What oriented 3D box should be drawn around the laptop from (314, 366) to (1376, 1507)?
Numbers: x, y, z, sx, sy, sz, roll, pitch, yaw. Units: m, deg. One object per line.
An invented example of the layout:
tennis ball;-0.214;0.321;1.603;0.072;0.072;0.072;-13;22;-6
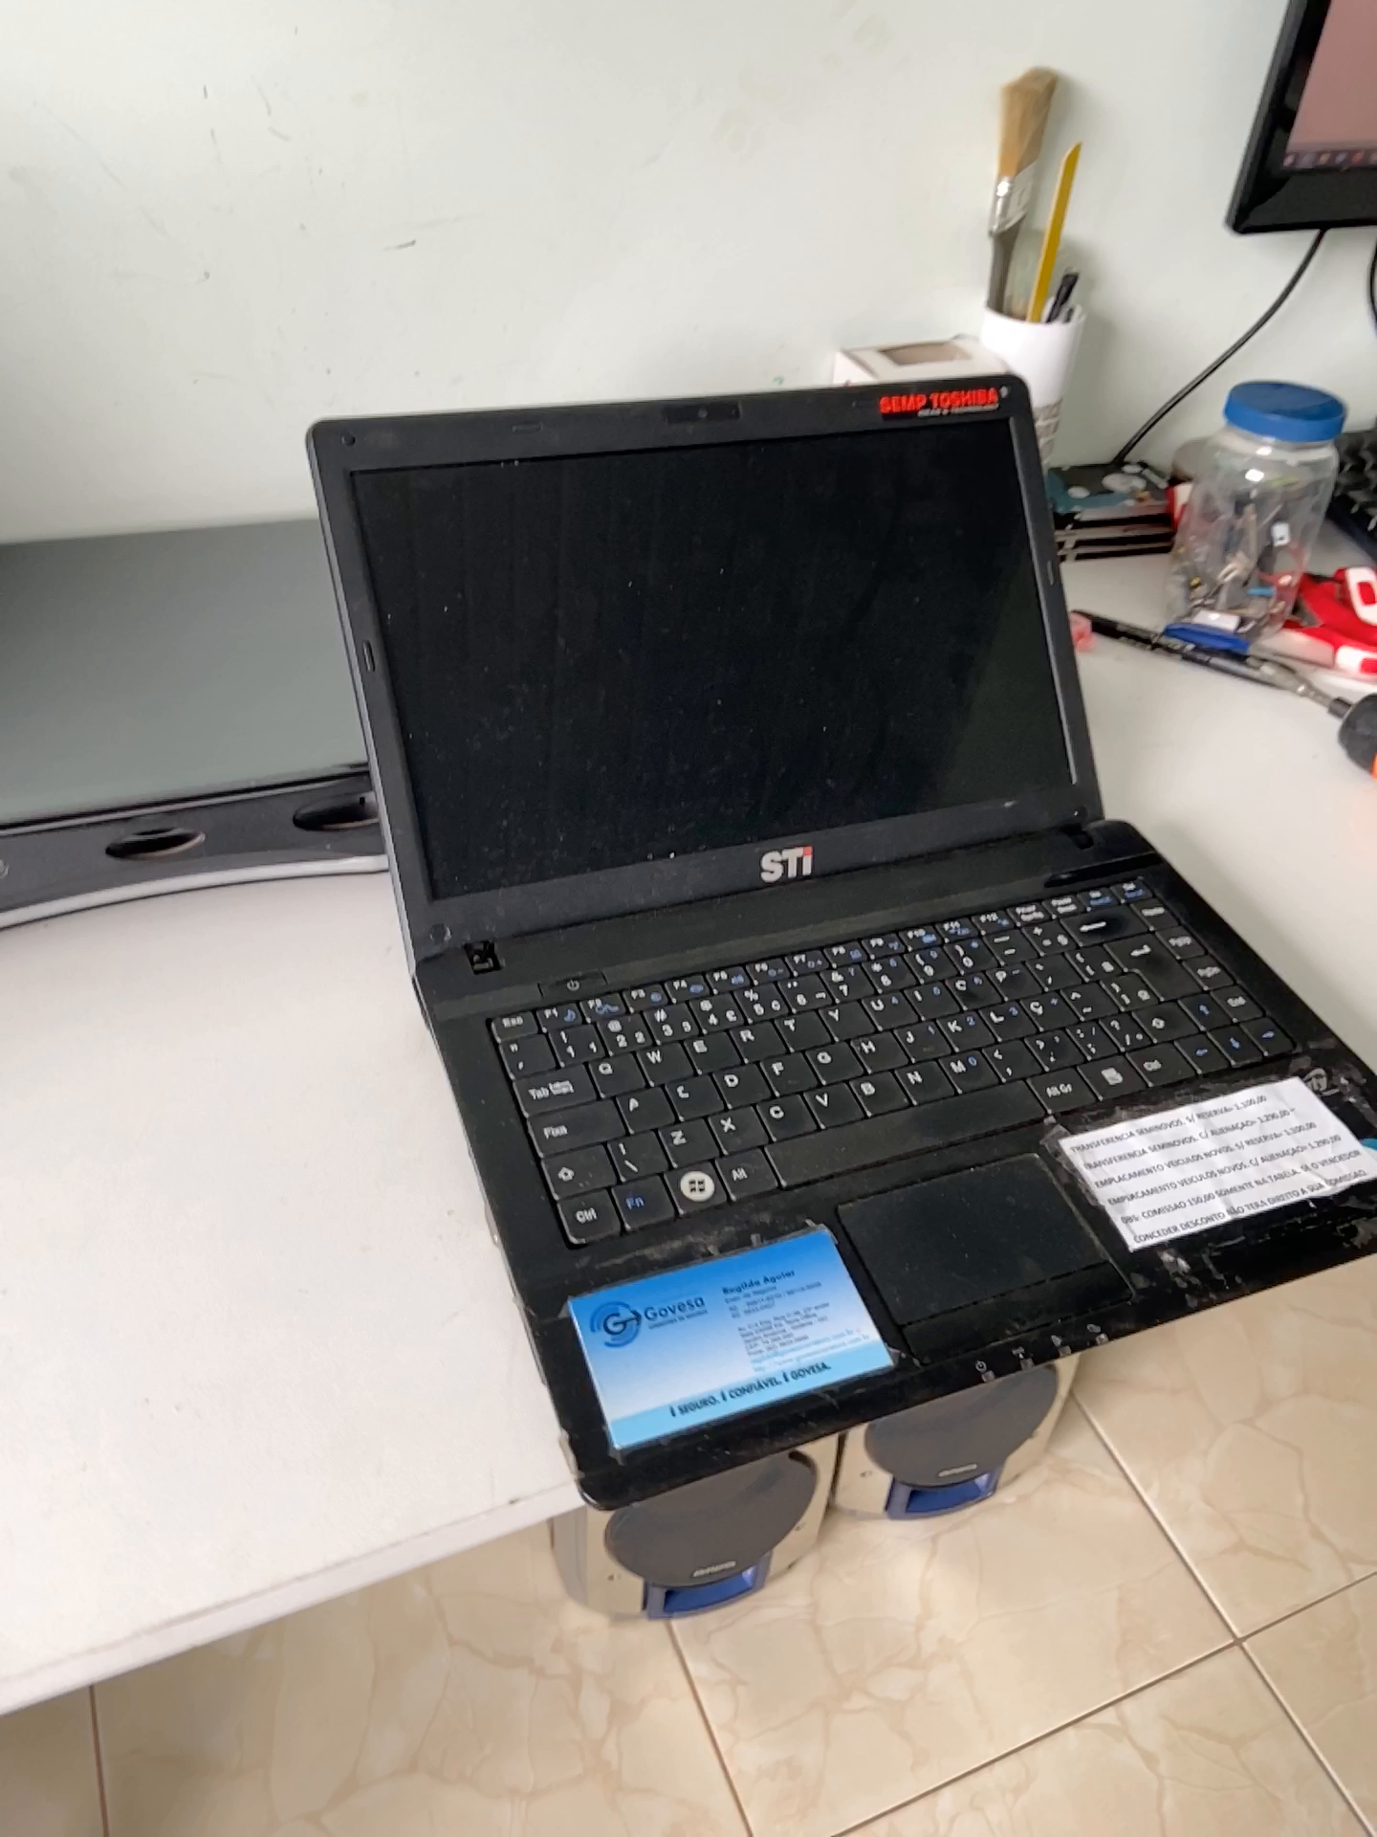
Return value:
laptop;0.070;-0.049;0.533;0.335;0.159;0.386;-11;43;-18
